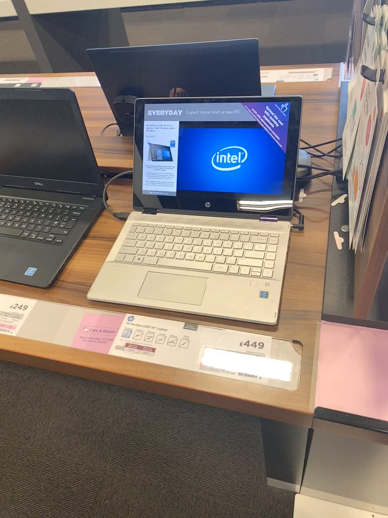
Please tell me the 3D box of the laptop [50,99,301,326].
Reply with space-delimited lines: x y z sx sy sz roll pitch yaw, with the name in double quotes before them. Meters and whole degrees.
"laptop" 0.004 -0.105 0.677 0.313 0.154 0.363 5 50 17
